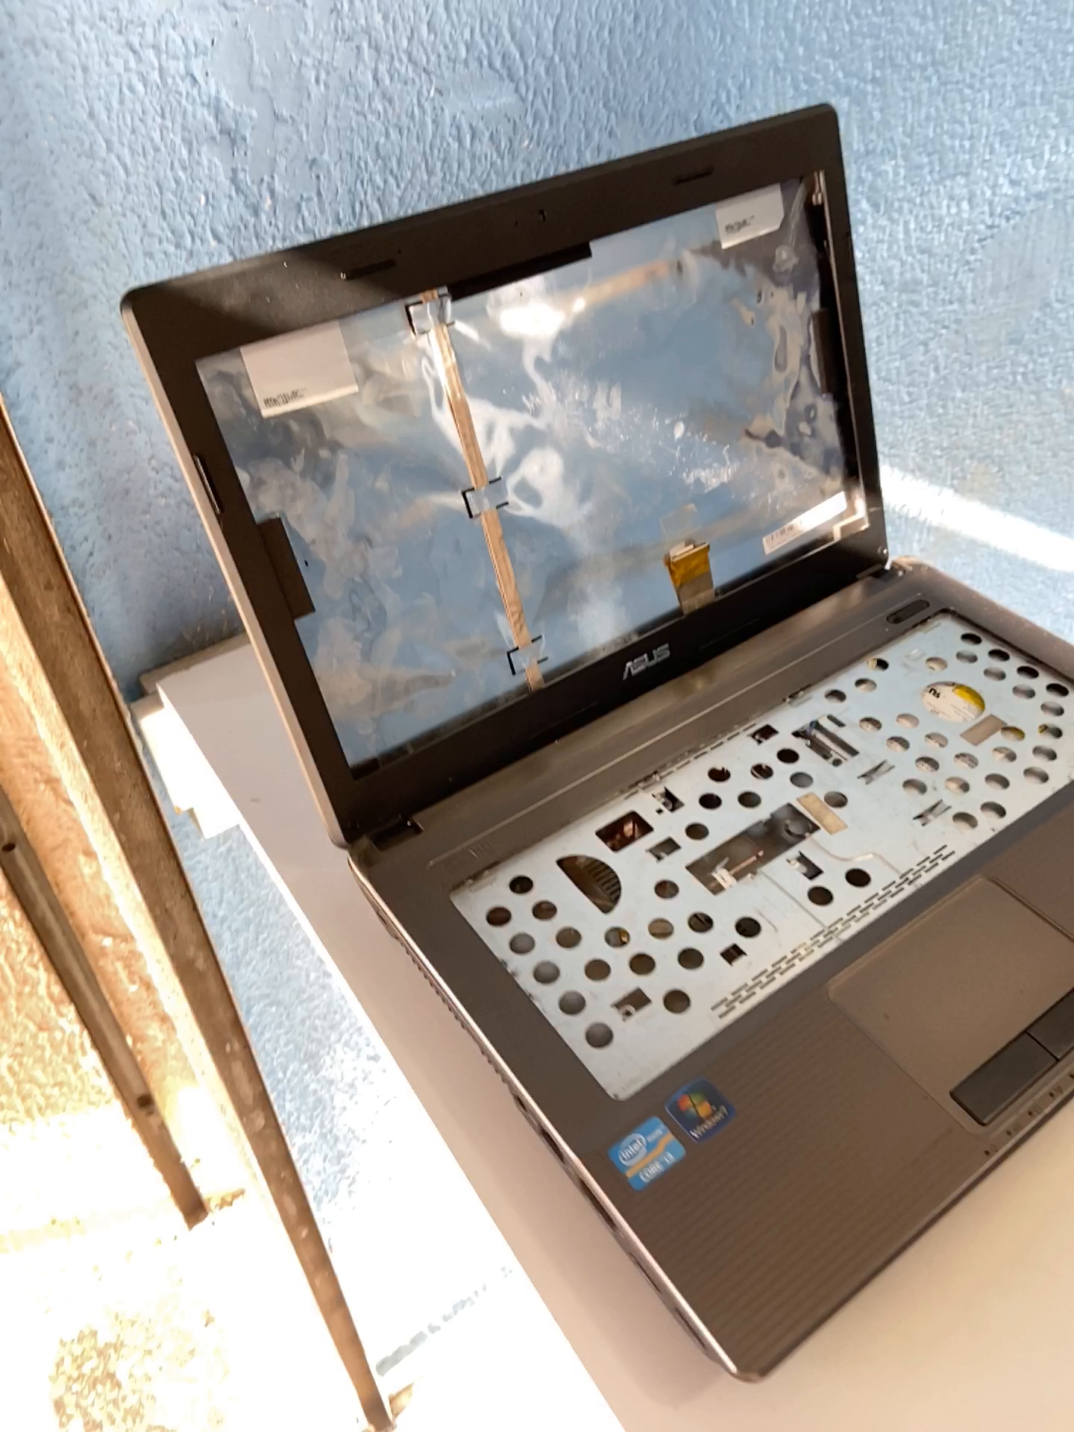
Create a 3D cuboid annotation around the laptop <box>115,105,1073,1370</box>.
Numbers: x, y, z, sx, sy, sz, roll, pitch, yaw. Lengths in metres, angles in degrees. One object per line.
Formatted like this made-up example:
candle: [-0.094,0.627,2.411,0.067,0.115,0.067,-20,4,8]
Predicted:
laptop: [0.095,-0.051,0.407,0.337,0.202,0.328,-27,47,-24]
